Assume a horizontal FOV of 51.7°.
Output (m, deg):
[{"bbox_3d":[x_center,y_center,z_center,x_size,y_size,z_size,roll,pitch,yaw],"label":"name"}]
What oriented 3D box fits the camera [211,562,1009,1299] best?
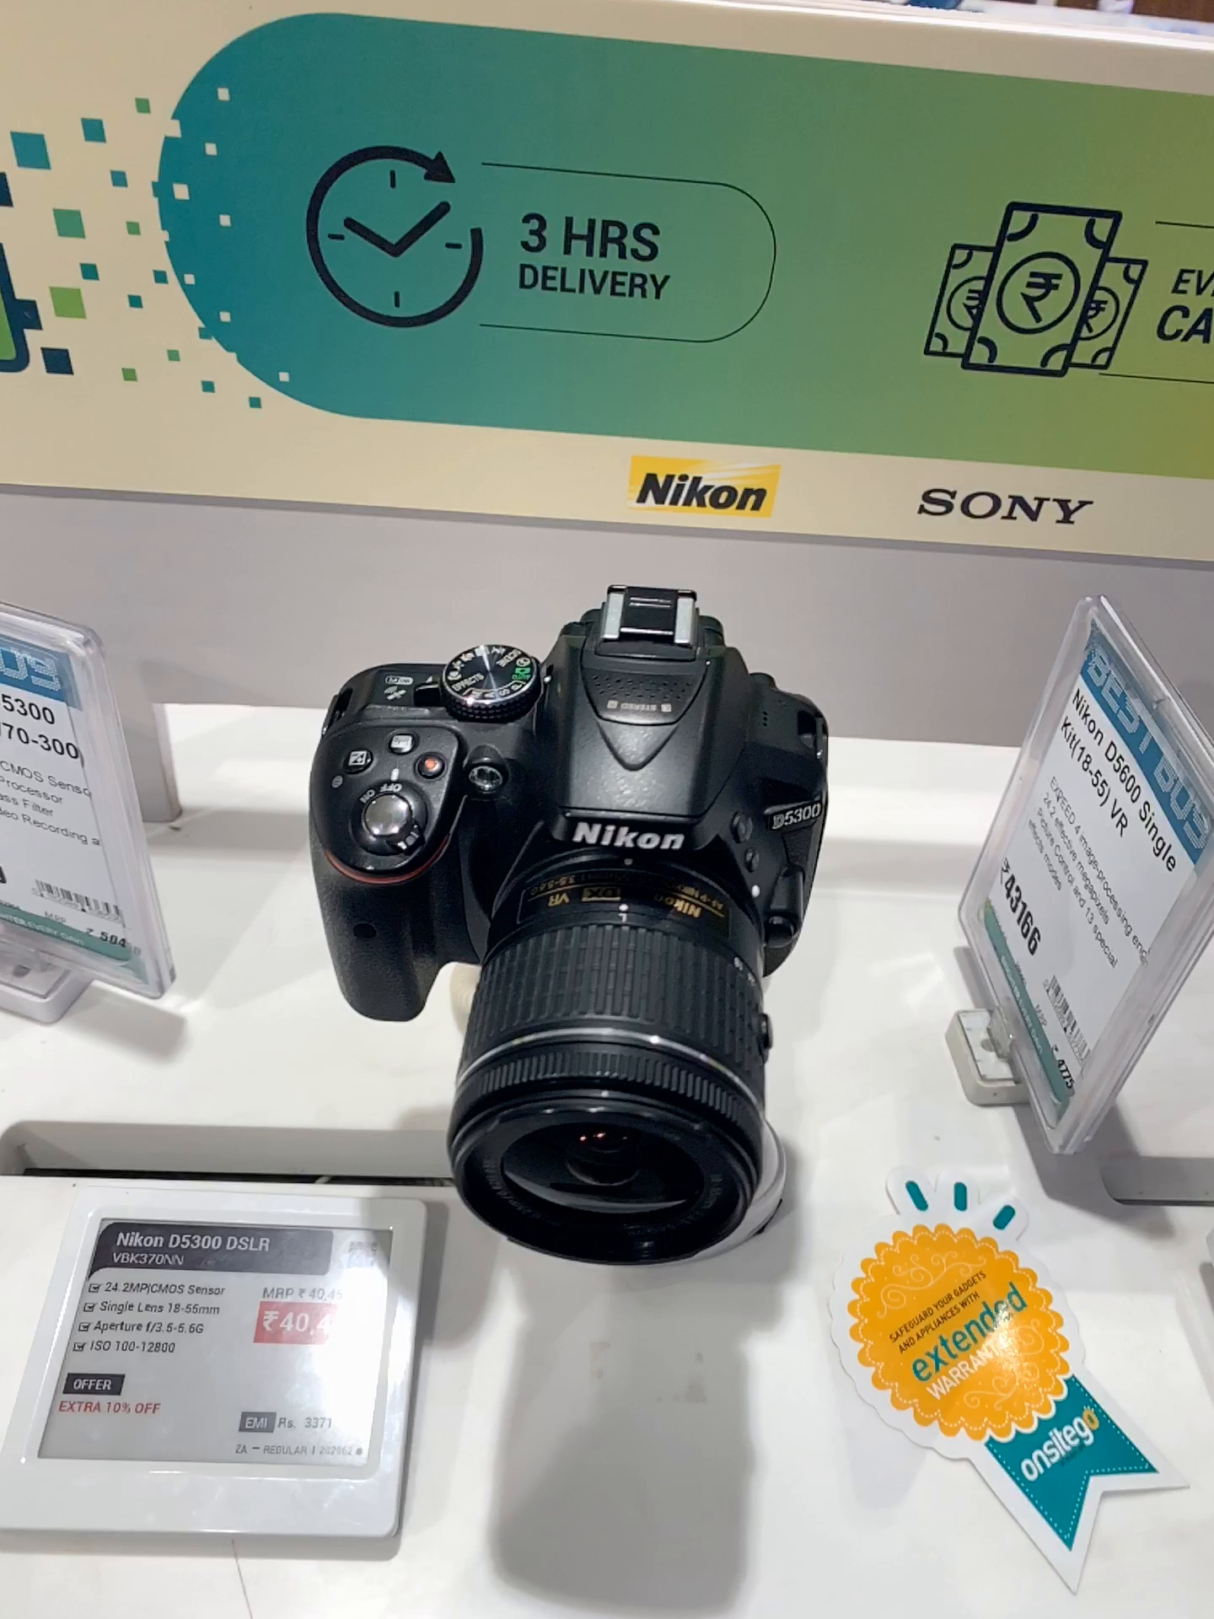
[{"bbox_3d":[-0.003,0.021,0.258,0.118,0.082,0.123,3,42,-4],"label":"camera"}]
